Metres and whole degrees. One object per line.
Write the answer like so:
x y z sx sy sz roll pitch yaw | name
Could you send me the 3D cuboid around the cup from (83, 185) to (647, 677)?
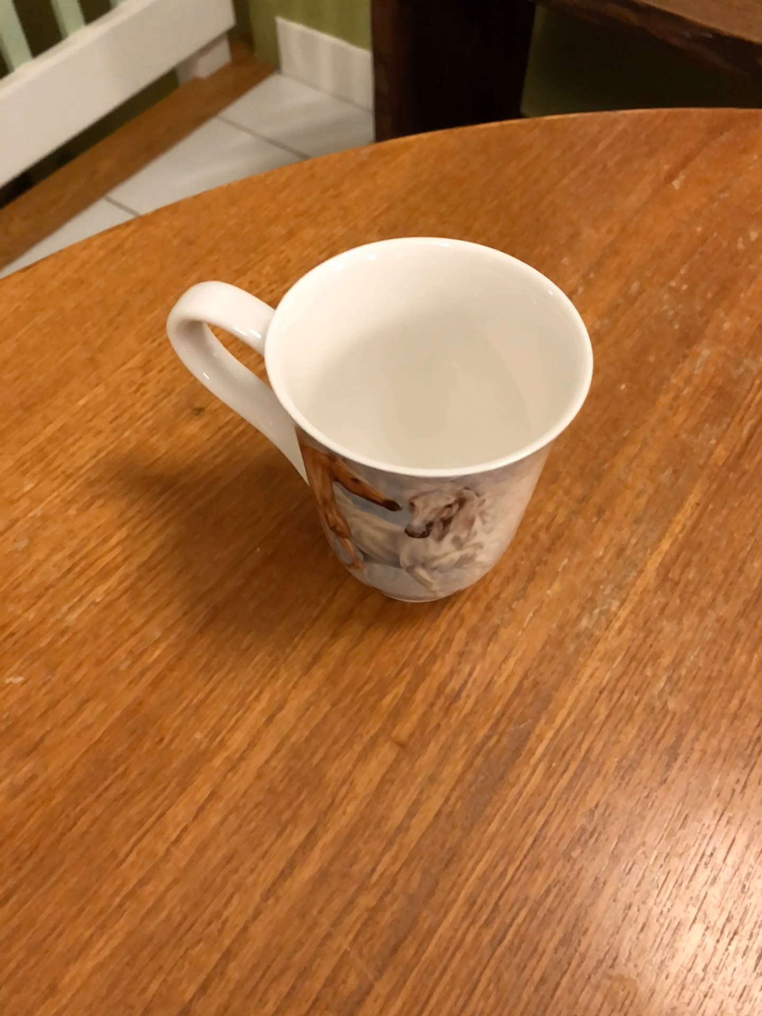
-0.001 -0.022 0.271 0.133 0.098 0.083 17 59 11 | cup
